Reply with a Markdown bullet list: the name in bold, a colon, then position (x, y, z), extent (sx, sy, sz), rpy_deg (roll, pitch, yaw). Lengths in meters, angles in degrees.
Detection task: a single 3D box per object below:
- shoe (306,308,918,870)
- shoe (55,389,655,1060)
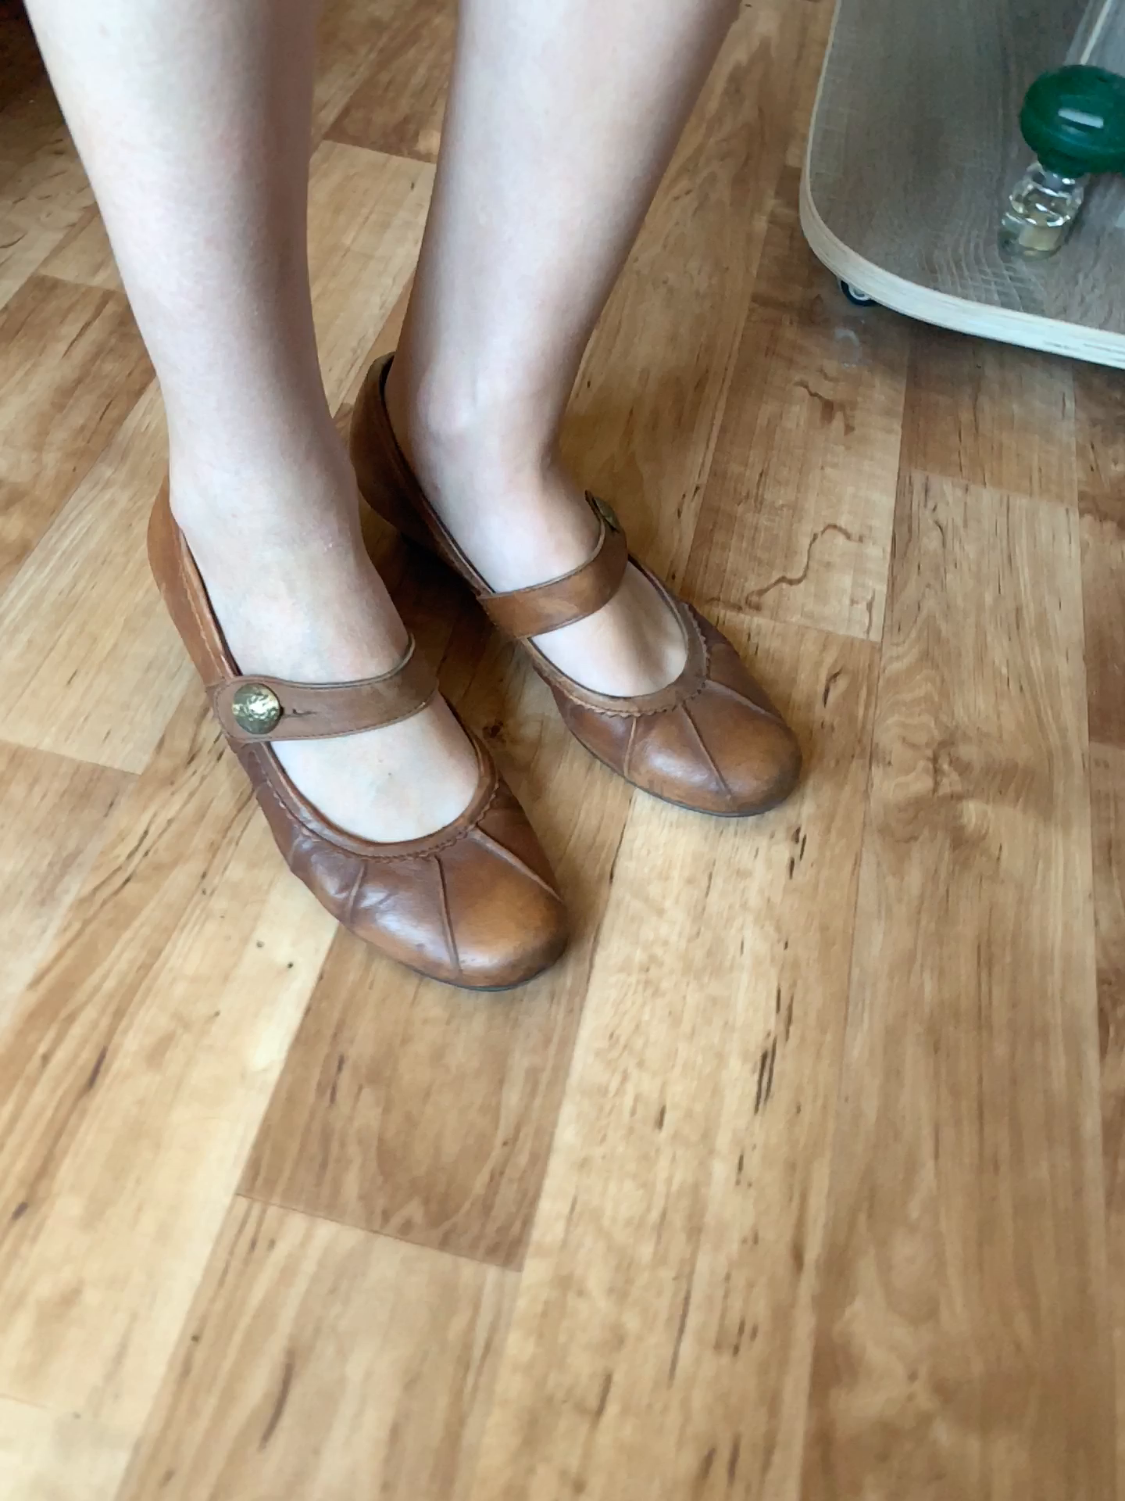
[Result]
- **shoe**: position (0.011, -0.076, 0.500), extent (0.250, 0.090, 0.090), rpy_deg (39, 60, 18)
- **shoe**: position (-0.086, -0.019, 0.449), extent (0.090, 0.090, 0.250), rpy_deg (-31, 65, -25)
